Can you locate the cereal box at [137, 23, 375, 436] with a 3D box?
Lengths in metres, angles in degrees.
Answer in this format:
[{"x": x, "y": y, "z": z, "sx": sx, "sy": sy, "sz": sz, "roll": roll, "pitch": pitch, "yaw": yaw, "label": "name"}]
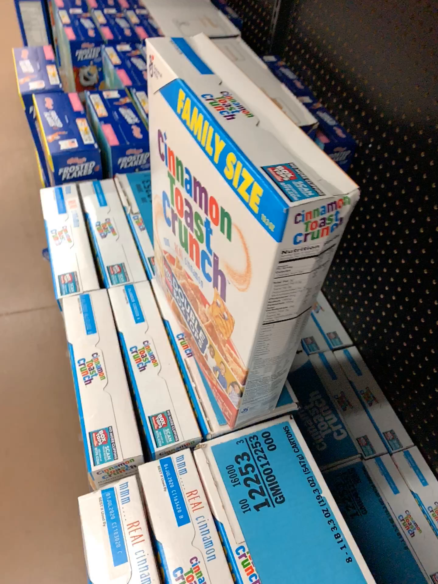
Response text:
[{"x": -0.003, "y": -0.043, "z": 0.427, "sx": 0.060, "sy": 0.299, "sz": 0.241, "roll": -16, "pitch": 54, "yaw": -20, "label": "cereal box"}]
